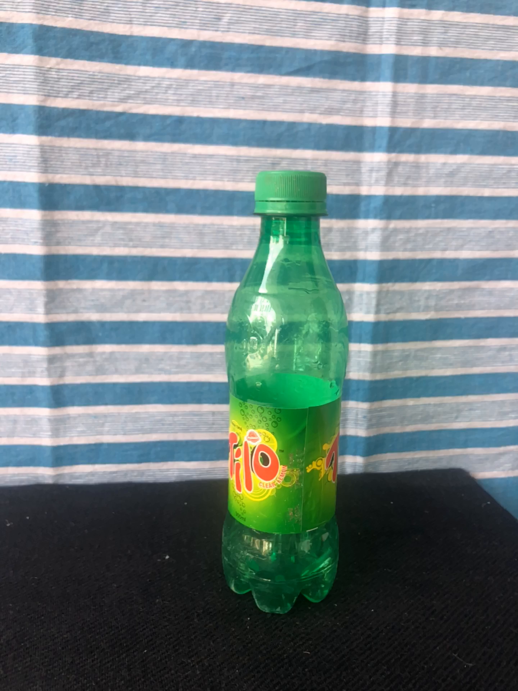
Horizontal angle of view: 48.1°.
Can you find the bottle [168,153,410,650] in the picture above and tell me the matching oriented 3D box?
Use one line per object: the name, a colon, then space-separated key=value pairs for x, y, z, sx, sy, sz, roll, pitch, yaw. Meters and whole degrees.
bottle: x=0.012 y=0.020 z=0.269 sx=0.070 sy=0.199 sz=0.070 roll=5 pitch=14 yaw=-1
